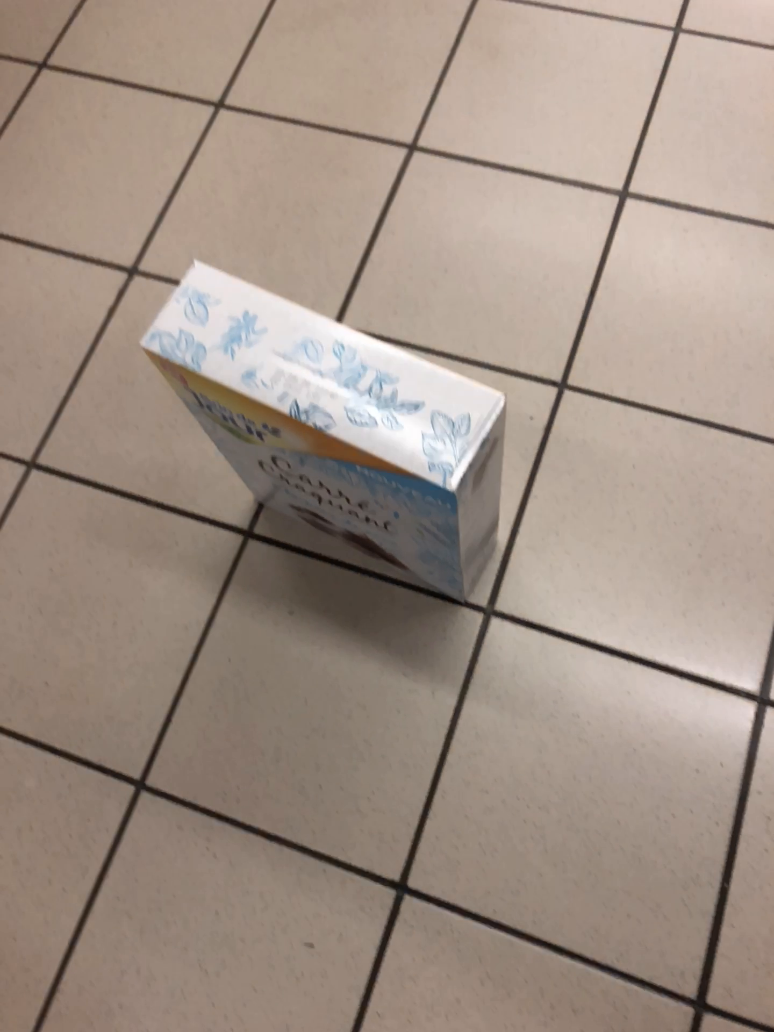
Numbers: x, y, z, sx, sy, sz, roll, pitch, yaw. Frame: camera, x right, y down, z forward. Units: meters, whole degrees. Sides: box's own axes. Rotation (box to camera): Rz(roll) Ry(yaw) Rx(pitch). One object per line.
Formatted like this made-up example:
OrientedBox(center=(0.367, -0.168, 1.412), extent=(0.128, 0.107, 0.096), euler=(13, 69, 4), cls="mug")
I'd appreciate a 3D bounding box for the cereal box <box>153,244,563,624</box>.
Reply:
OrientedBox(center=(-0.009, -0.034, 0.544), extent=(0.200, 0.239, 0.070), euler=(27, 75, 13), cls="cereal box")
